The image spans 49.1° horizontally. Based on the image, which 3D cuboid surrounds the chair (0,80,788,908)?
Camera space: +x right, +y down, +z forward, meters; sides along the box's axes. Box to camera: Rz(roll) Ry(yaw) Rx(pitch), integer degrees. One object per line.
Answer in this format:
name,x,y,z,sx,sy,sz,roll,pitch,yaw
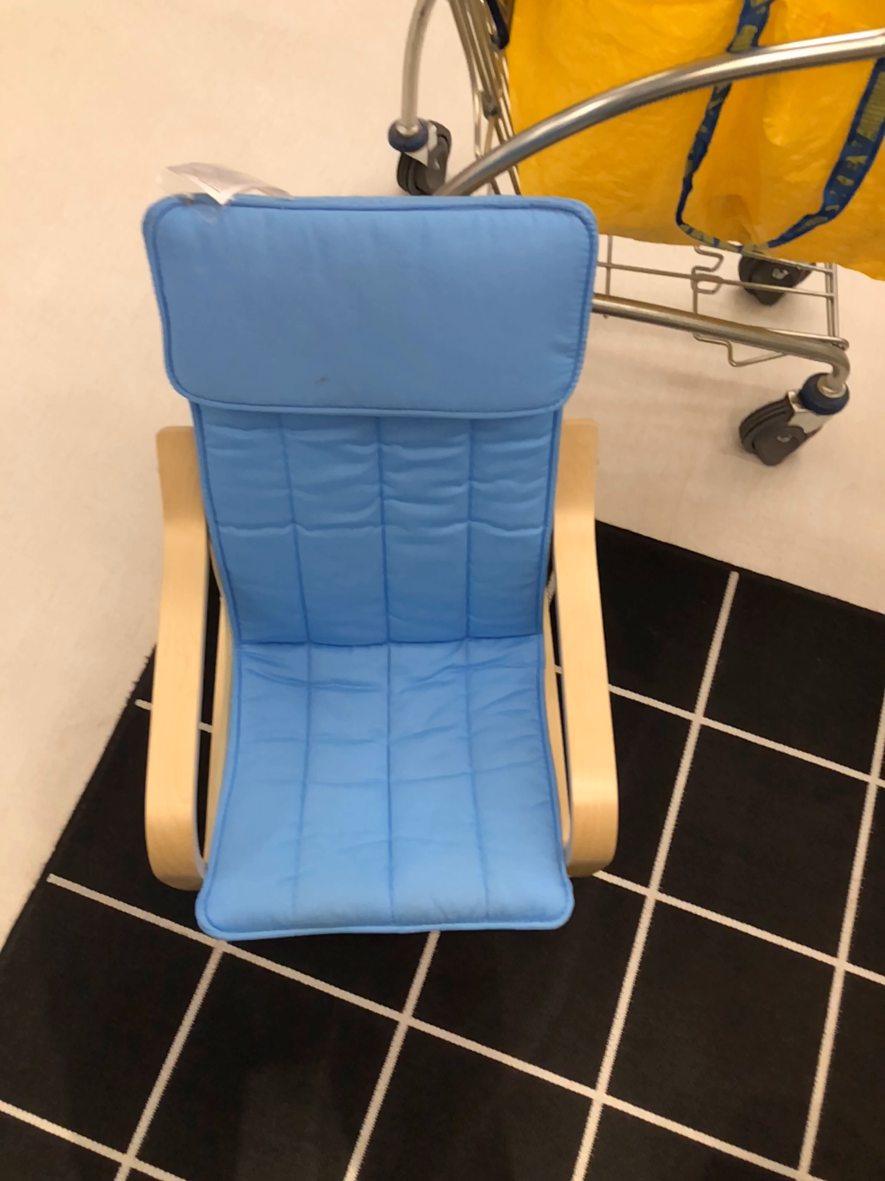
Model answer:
chair,-0.062,0.015,1.085,0.490,0.877,0.562,-1,67,-3
